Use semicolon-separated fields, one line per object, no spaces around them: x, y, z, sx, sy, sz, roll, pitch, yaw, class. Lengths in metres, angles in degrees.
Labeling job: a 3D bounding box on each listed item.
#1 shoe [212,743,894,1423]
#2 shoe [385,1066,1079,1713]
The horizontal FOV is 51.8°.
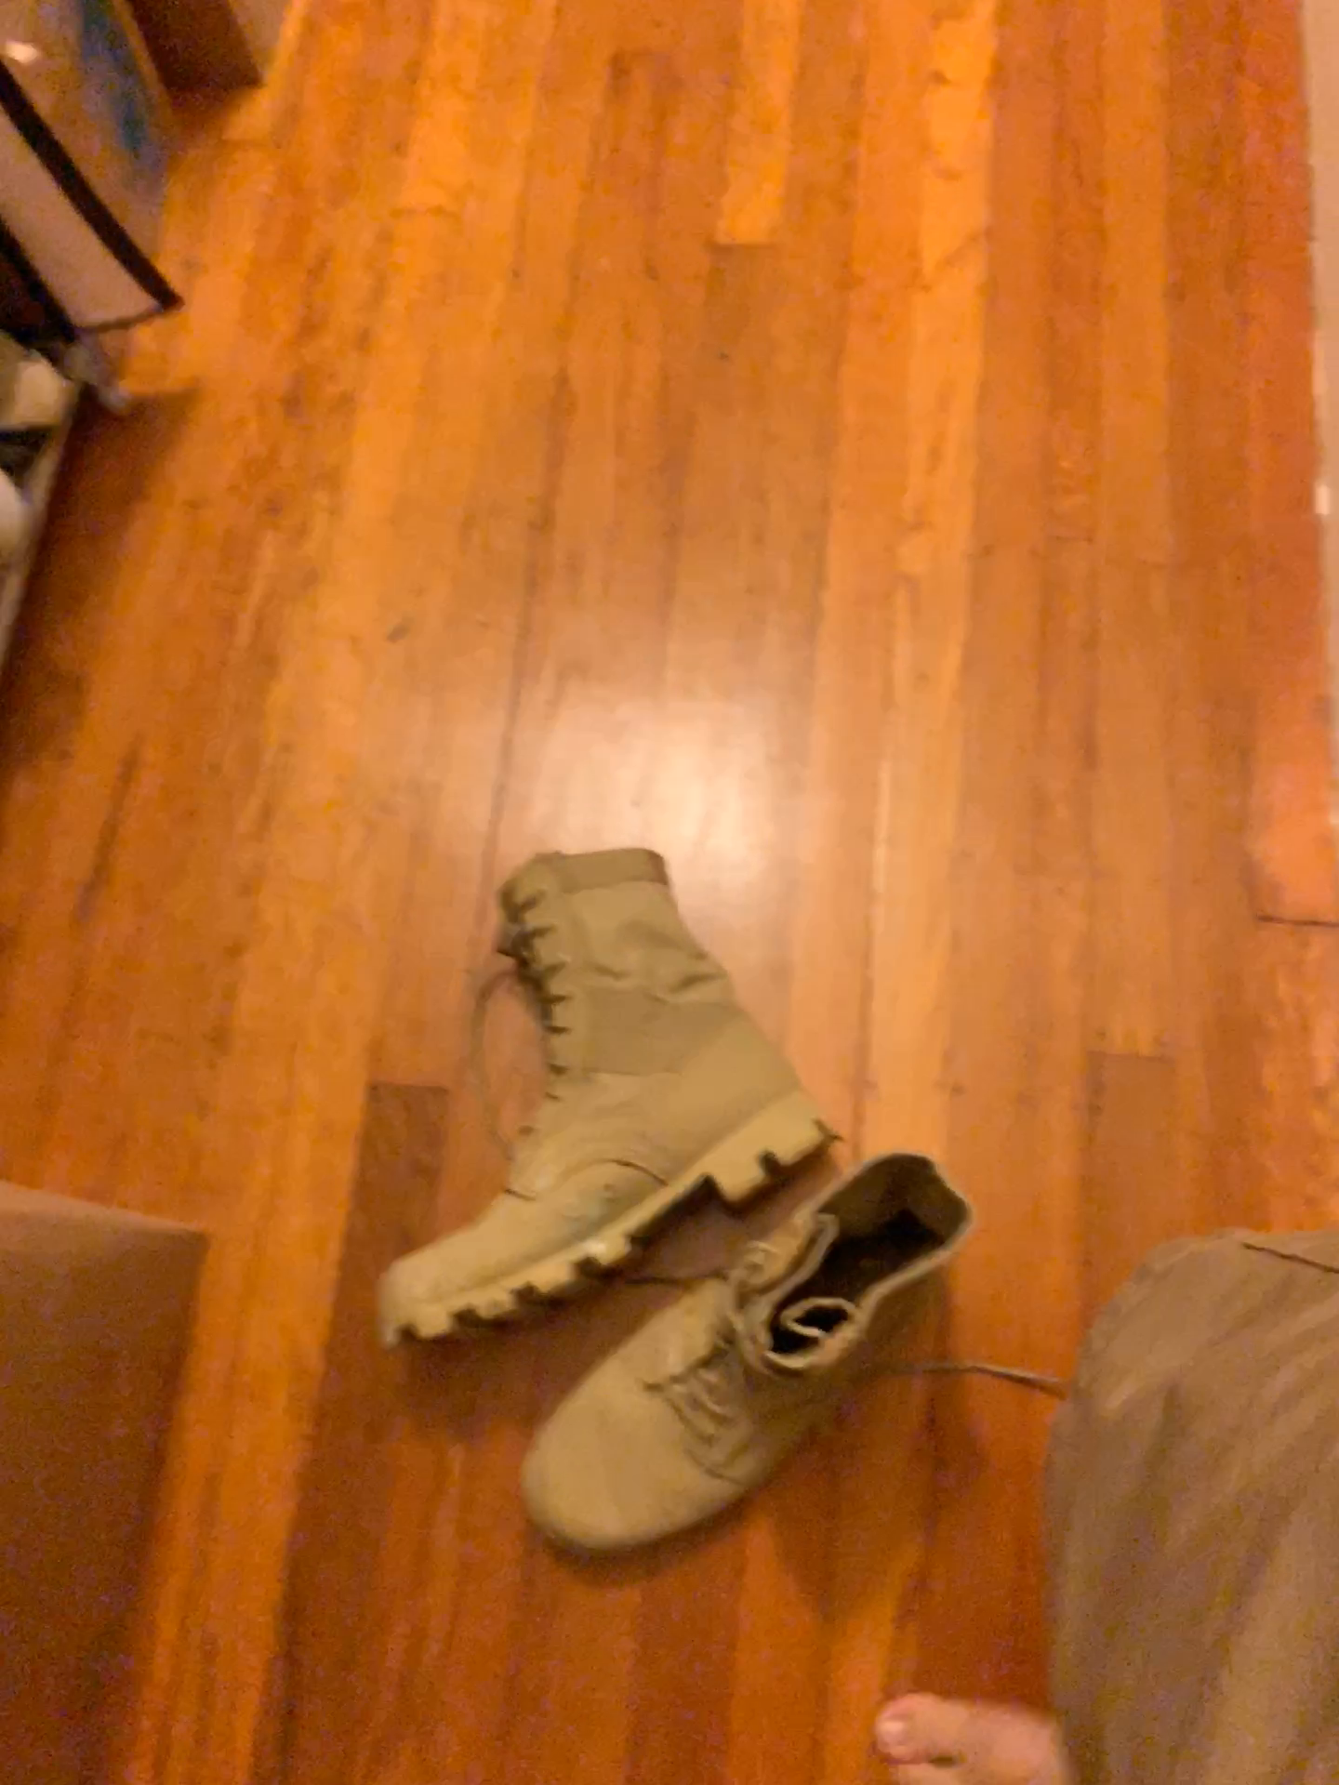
-0.066;0.107;0.811;0.290;0.110;0.260;-34;66;-7;shoe
0.035;0.241;0.700;0.290;0.200;0.120;-36;73;-7;shoe
